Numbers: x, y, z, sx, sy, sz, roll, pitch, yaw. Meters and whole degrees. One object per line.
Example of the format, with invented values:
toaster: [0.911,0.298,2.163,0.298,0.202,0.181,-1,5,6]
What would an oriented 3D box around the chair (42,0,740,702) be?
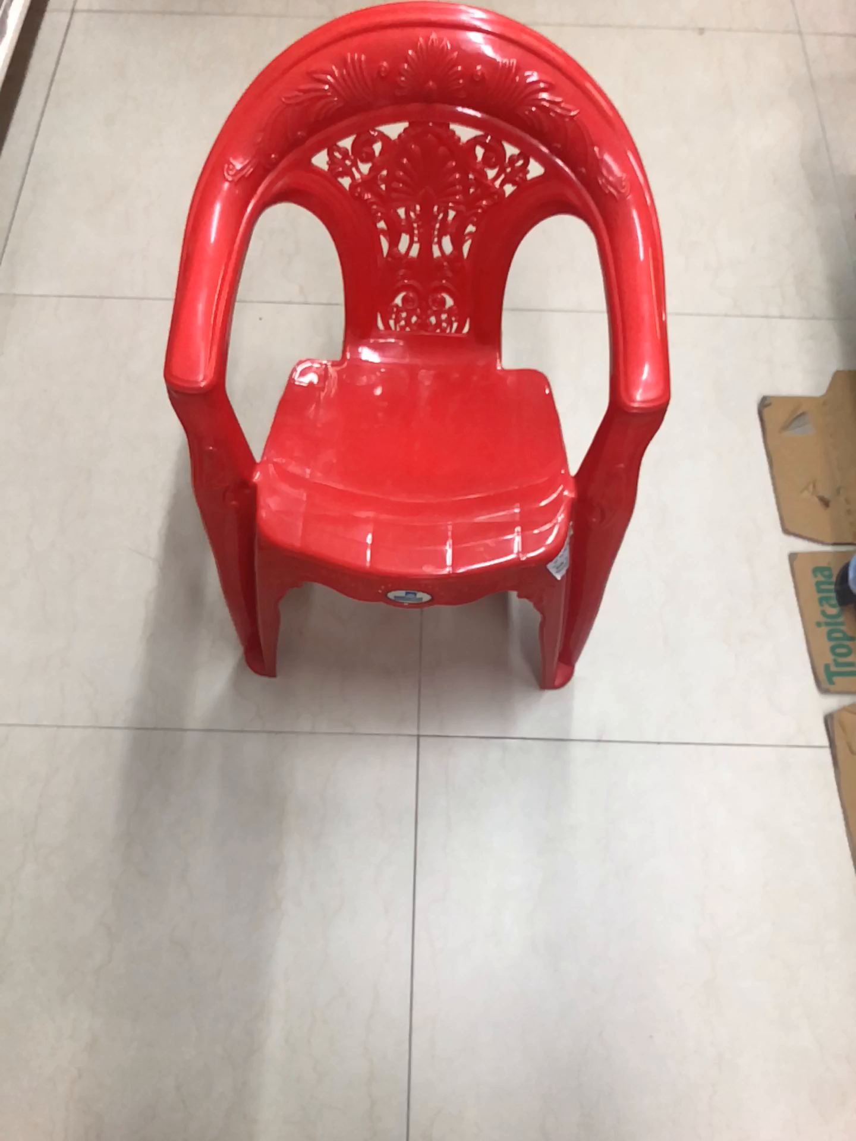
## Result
chair: [-0.017,-0.146,0.836,0.390,0.508,0.372,2,64,0]
